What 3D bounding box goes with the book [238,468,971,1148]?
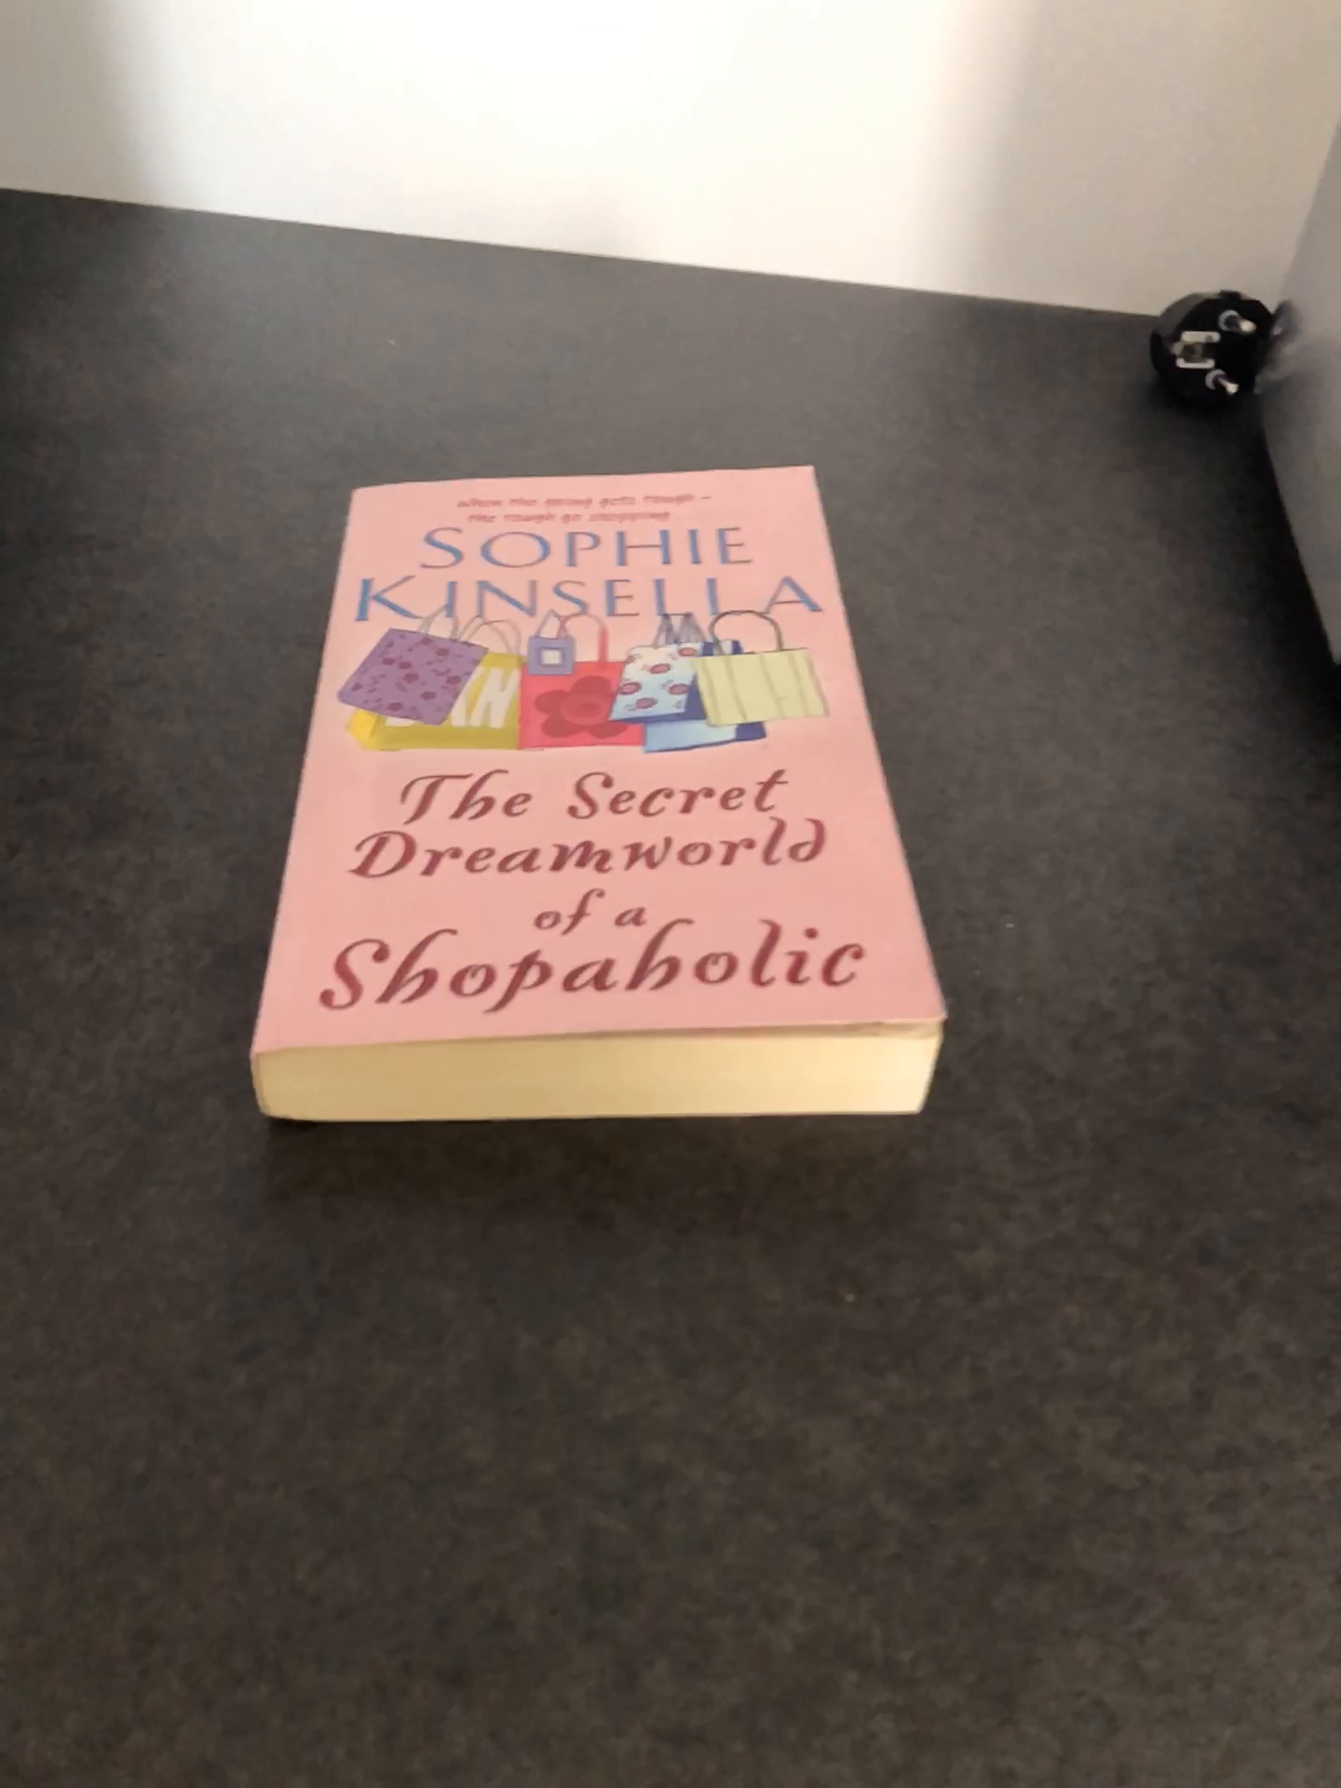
[{"bbox_3d":[-0.018,-0.035,0.343,0.130,0.030,0.201,-1,45,-5],"label":"book"}]
